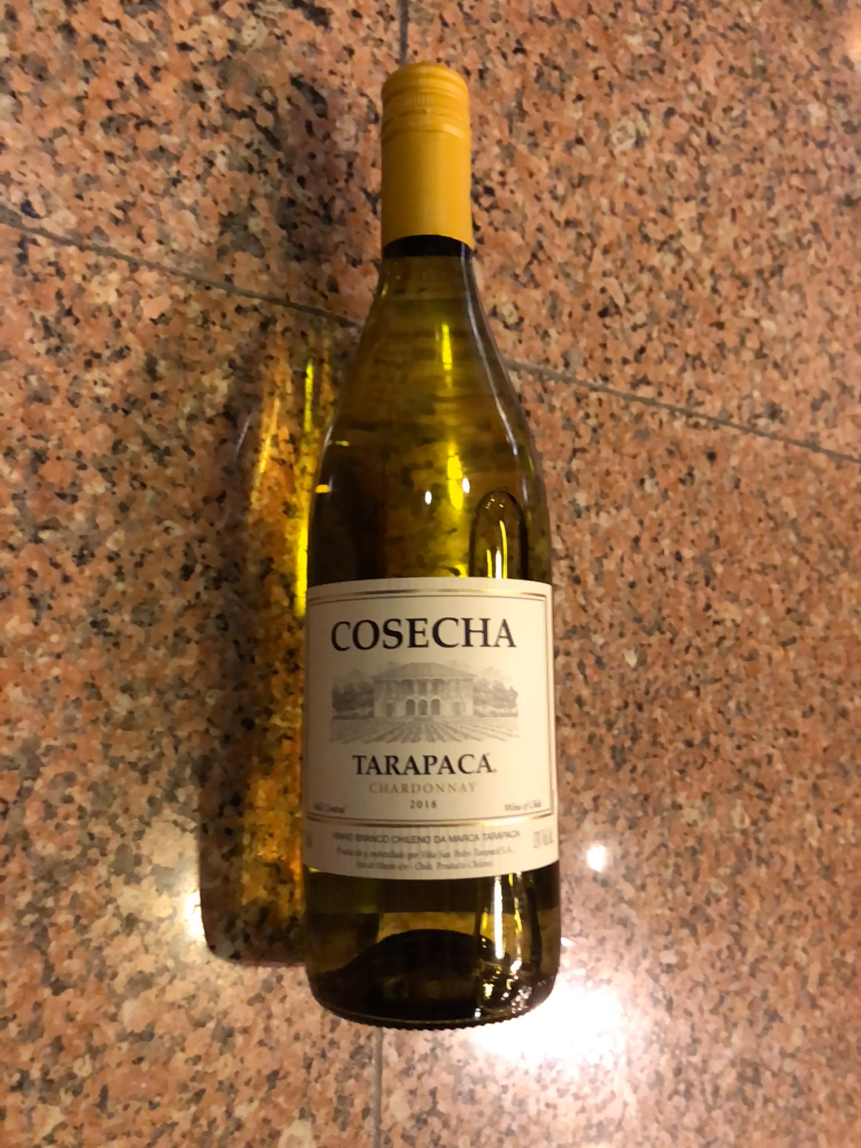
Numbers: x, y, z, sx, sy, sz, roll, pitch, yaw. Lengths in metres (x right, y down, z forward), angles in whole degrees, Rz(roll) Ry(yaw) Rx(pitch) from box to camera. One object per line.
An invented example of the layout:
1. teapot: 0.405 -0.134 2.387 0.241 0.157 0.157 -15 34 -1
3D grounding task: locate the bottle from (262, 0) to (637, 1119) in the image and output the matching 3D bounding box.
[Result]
1. bottle: 0.002 -0.028 0.311 0.090 0.070 0.340 4 81 -36
